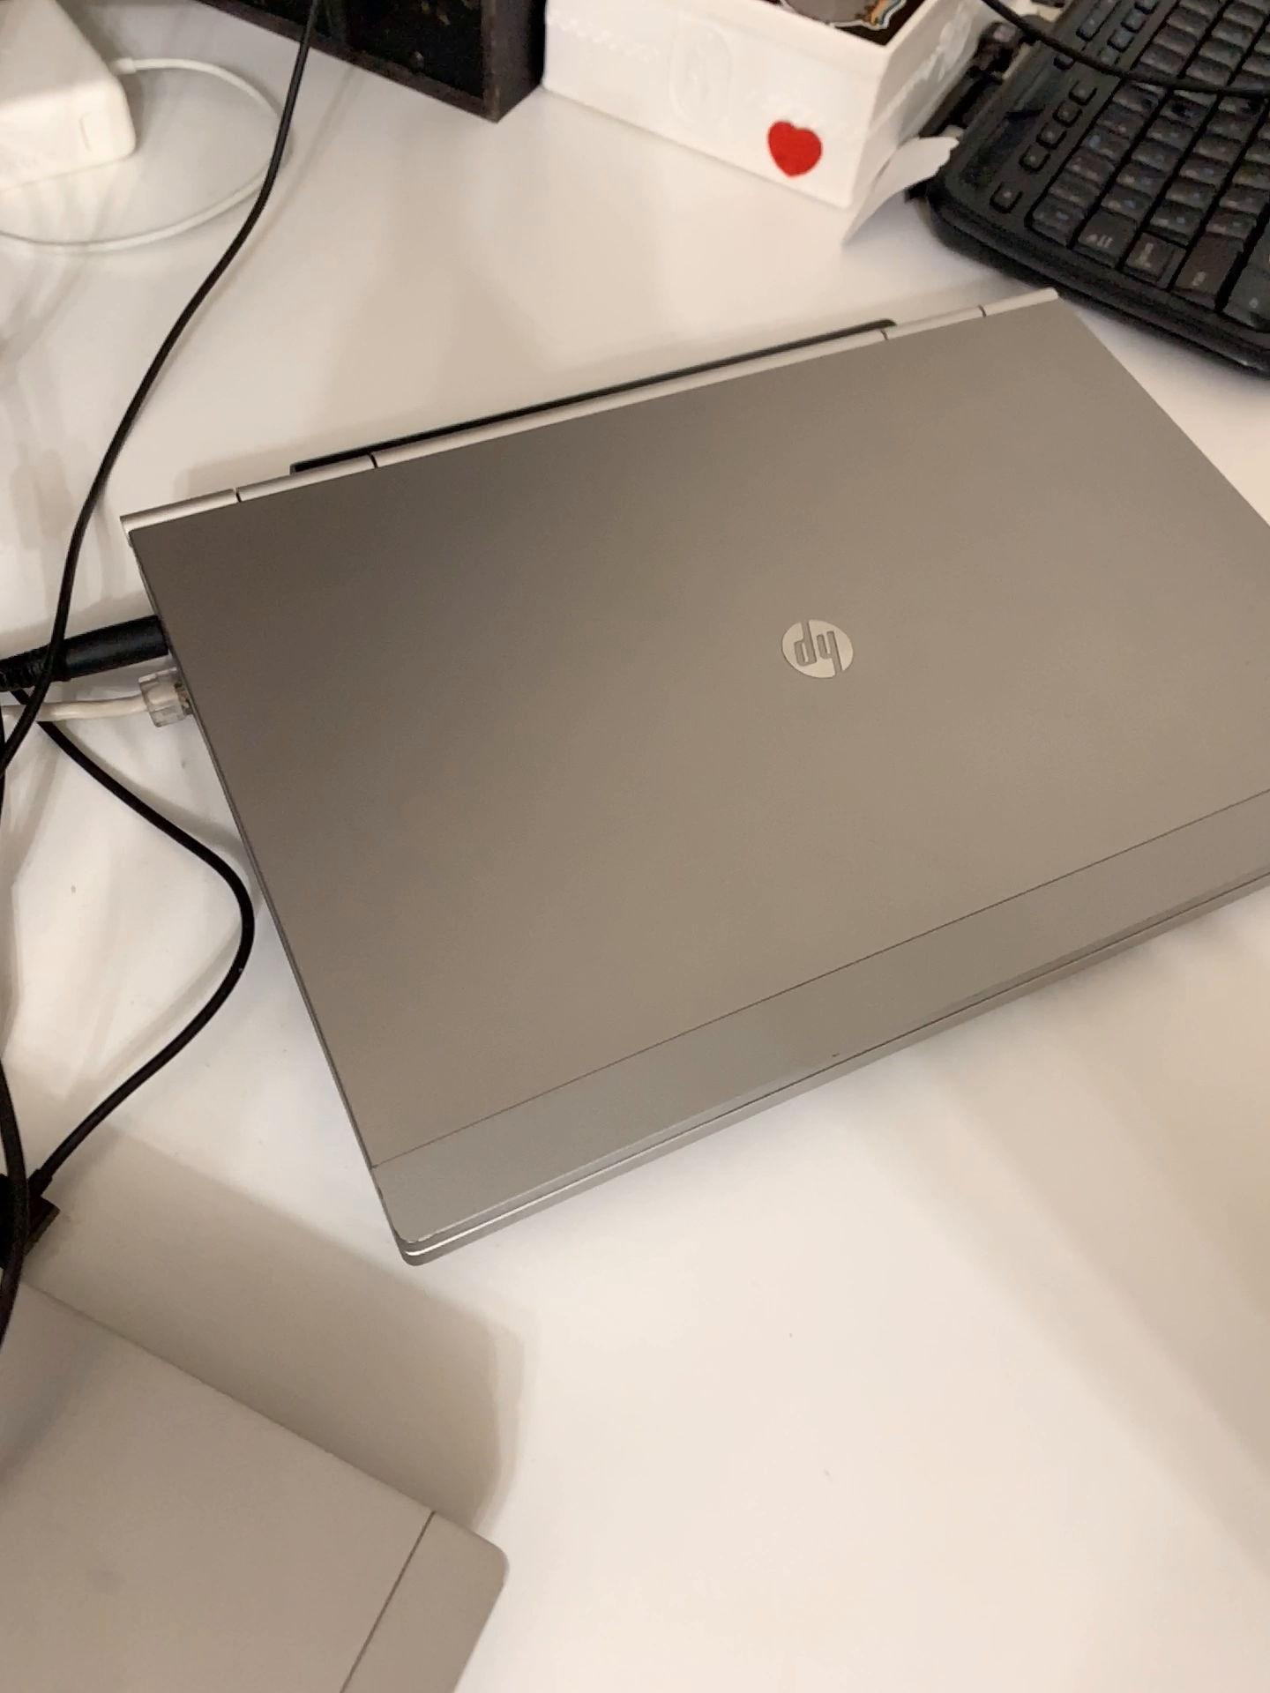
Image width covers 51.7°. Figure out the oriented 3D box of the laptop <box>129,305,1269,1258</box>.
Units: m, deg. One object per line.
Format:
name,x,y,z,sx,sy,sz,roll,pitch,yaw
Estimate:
laptop,0.046,-0.045,0.344,0.292,0.016,0.192,-20,66,-19
